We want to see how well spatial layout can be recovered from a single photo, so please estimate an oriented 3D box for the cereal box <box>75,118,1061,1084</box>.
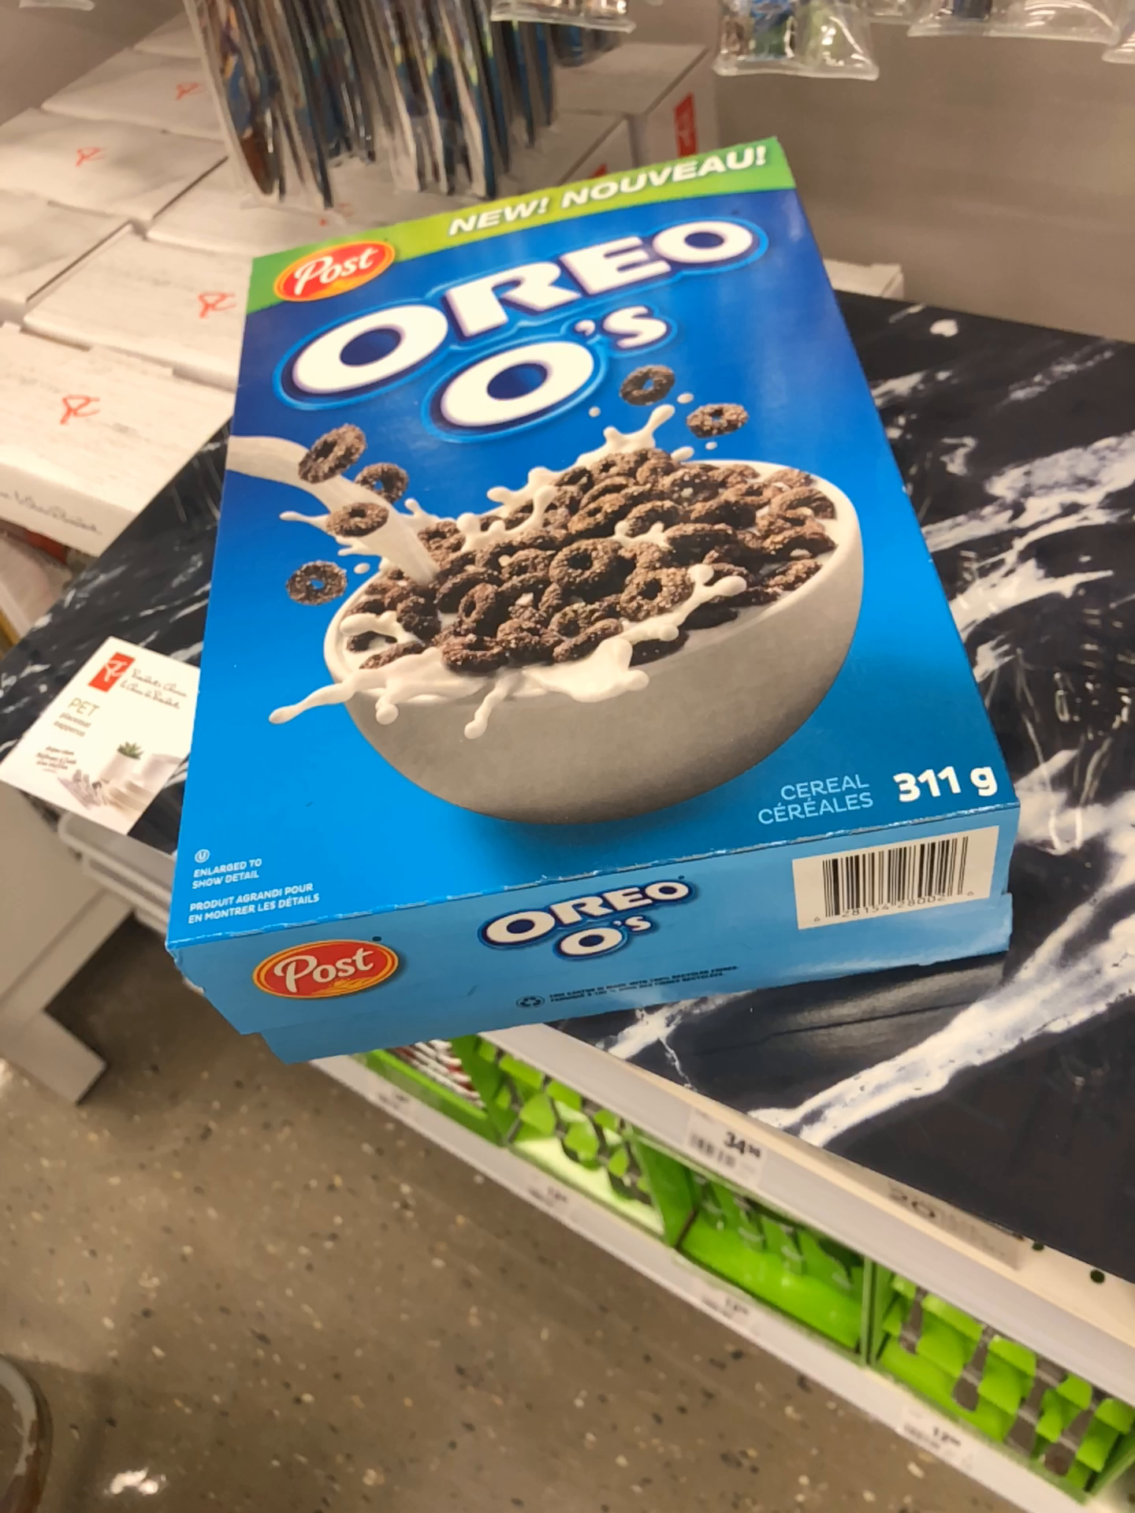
[{"bbox_3d":[-0.009,-0.070,0.387,0.210,0.070,0.301,-9,51,5],"label":"cereal box"}]
